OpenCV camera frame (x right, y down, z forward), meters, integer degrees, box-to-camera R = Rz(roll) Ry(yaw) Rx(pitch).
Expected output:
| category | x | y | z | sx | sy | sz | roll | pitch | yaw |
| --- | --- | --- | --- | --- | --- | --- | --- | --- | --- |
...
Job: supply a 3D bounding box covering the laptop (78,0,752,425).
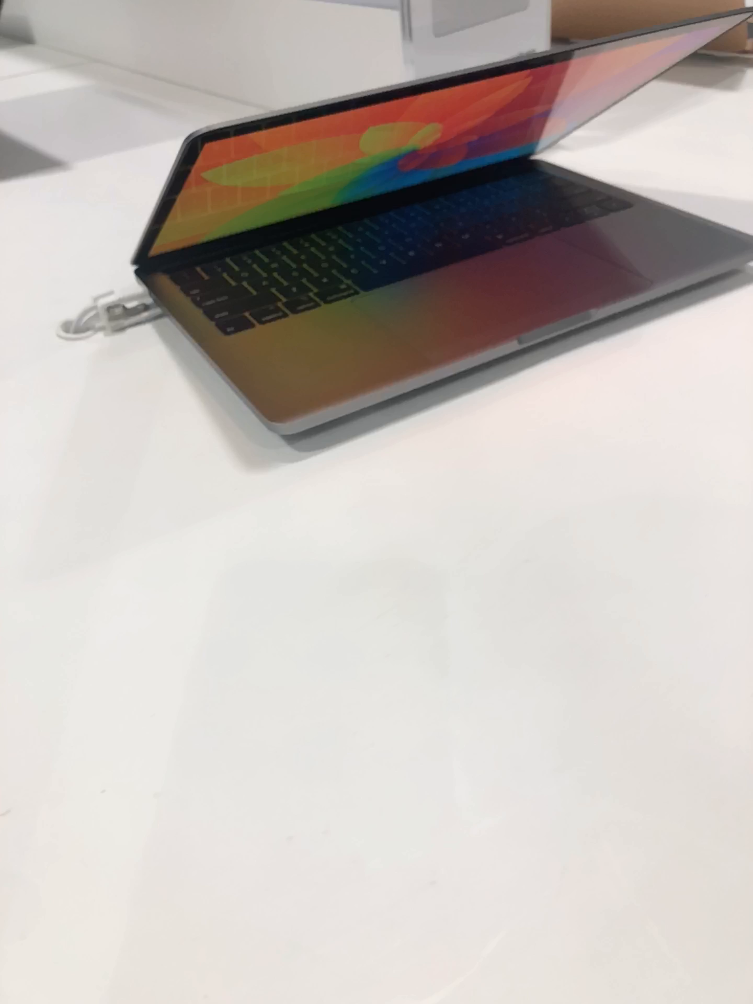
| category | x | y | z | sx | sy | sz | roll | pitch | yaw |
| --- | --- | --- | --- | --- | --- | --- | --- | --- | --- |
| laptop | 0.031 | -0.182 | 0.441 | 0.297 | 0.109 | 0.211 | -23 | 41 | -21 |
